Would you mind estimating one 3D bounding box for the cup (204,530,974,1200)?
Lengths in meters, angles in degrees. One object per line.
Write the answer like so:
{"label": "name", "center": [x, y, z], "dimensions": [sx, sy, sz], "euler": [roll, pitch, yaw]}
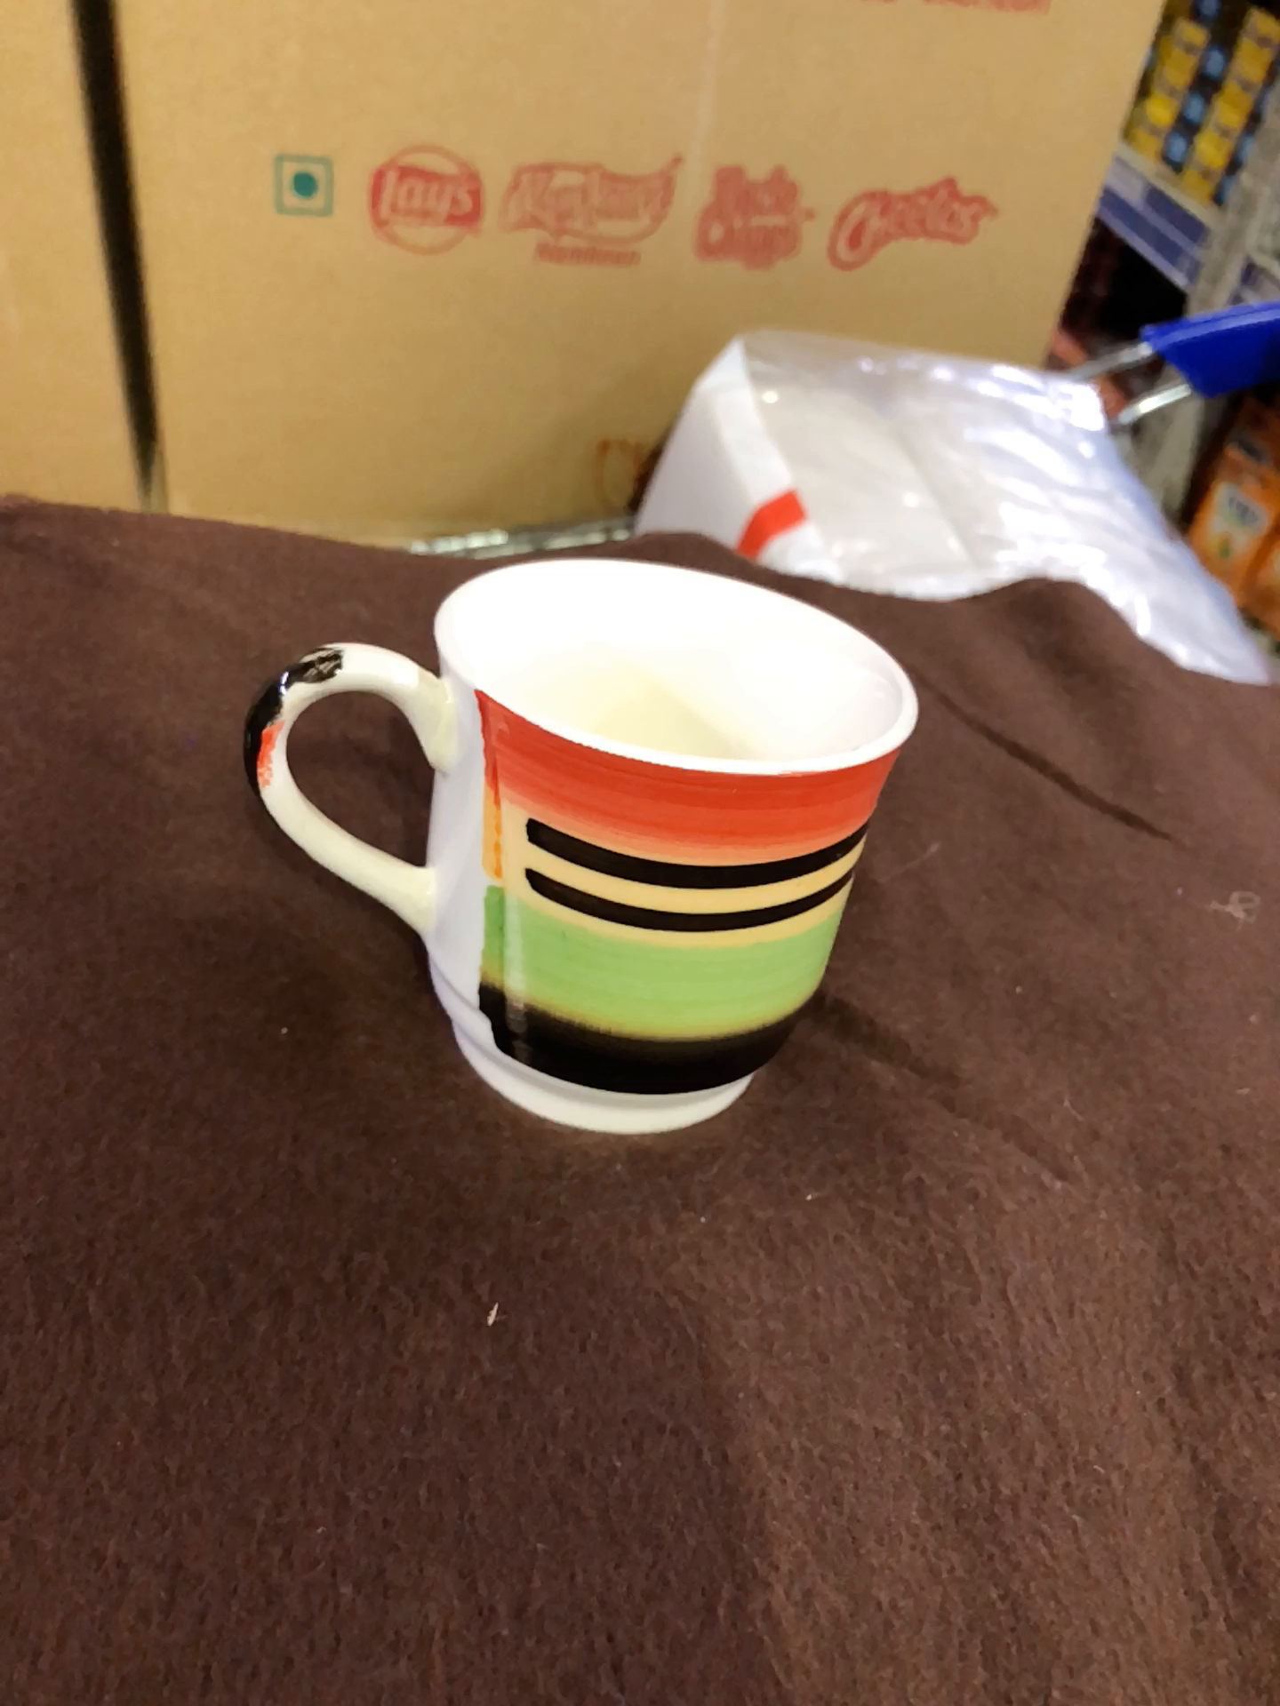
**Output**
{"label": "cup", "center": [-0.012, -0.001, 0.215], "dimensions": [0.090, 0.070, 0.070], "euler": [0, 32, -9]}
